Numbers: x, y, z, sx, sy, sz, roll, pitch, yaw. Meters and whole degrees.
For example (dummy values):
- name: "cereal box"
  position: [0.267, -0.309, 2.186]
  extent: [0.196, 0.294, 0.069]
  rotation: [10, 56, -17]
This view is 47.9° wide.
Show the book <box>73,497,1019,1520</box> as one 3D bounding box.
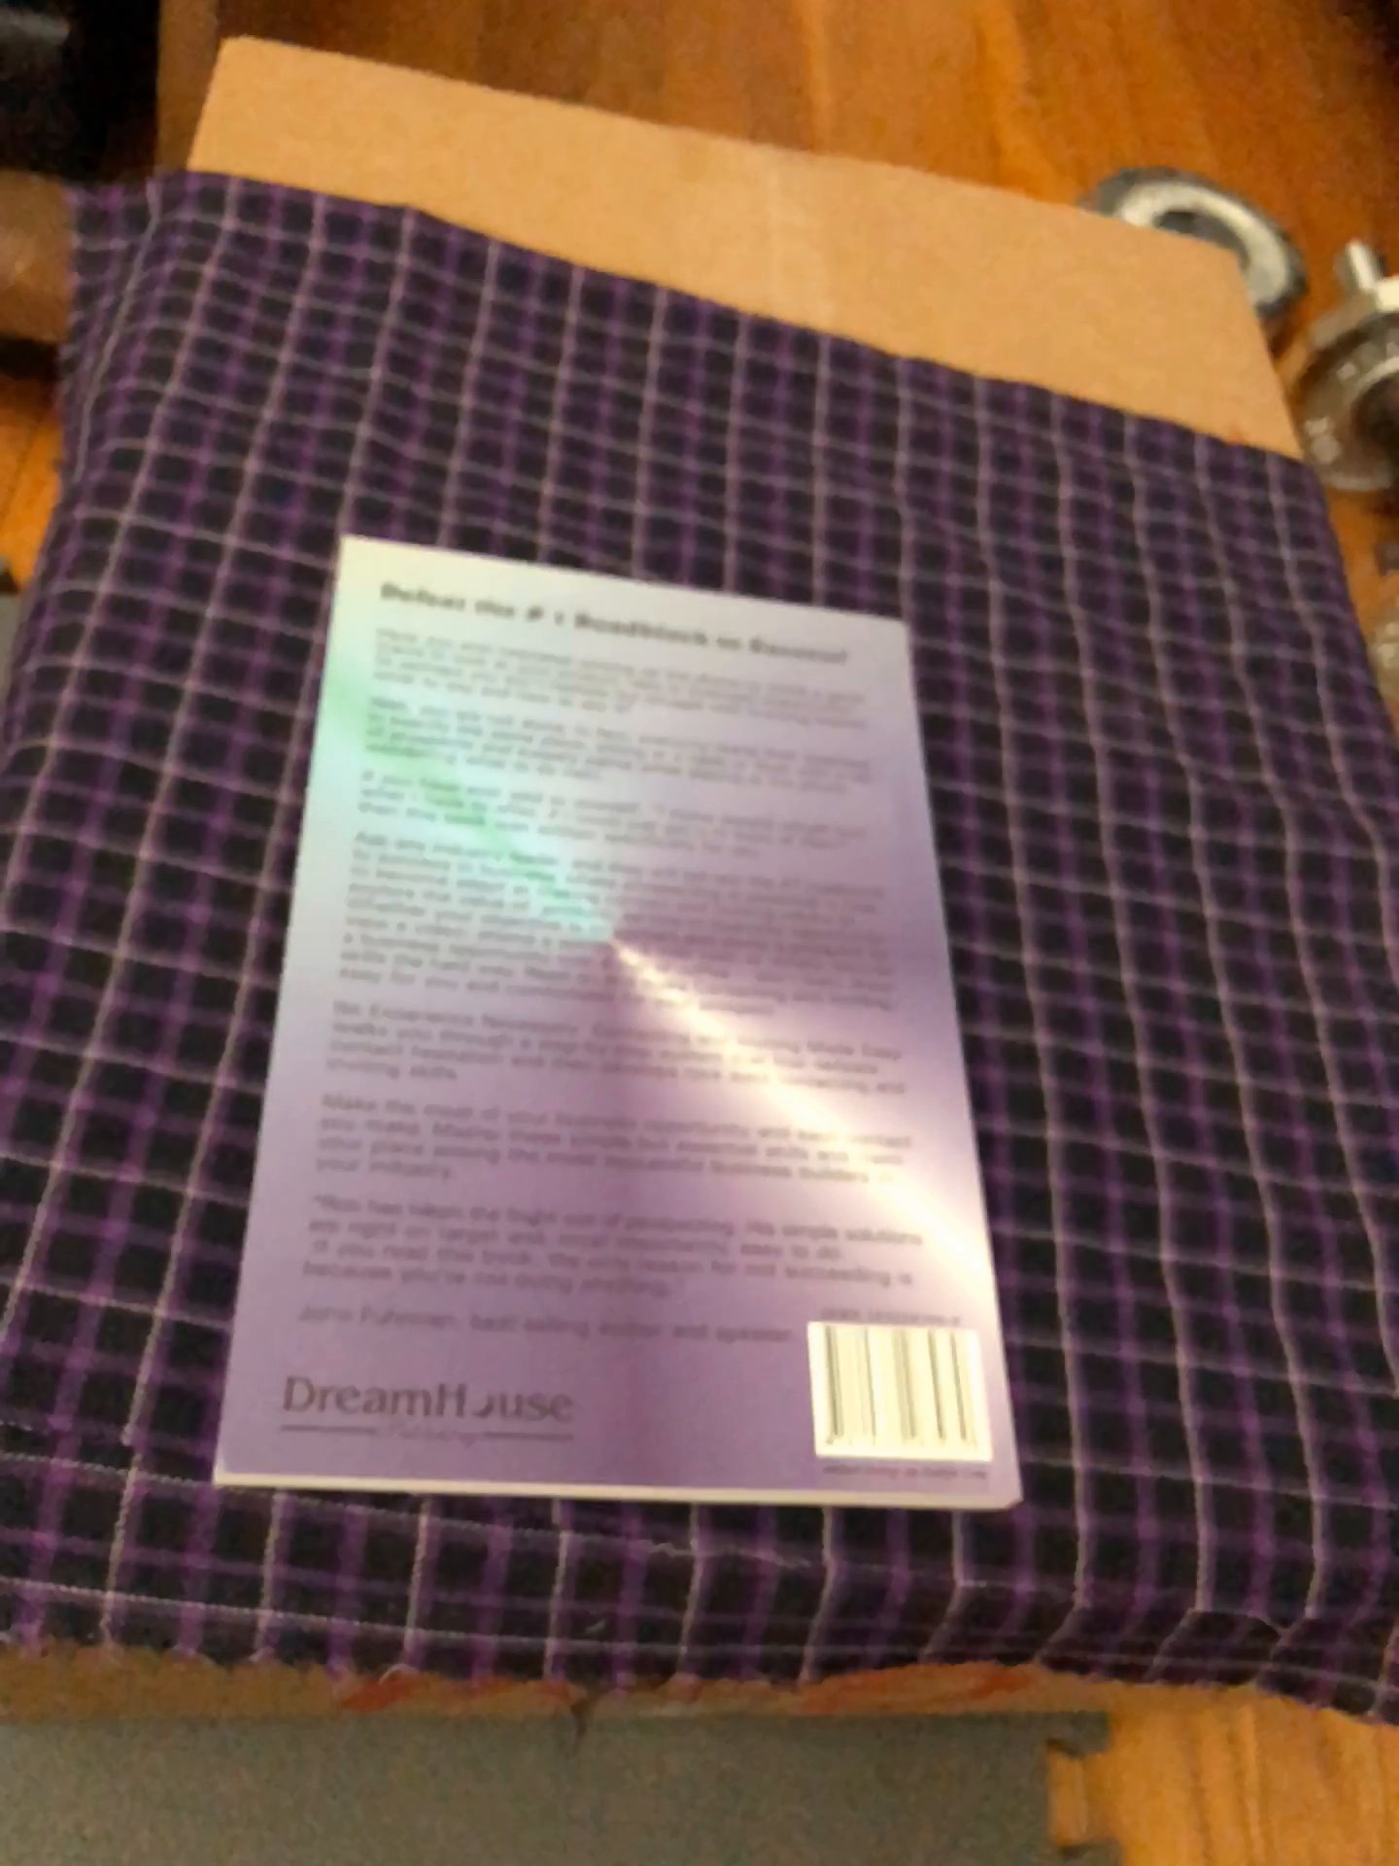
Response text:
- name: "book"
  position: [-0.026, 0.005, 0.332]
  extent: [0.160, 0.020, 0.221]
  rotation: [6, 57, -12]
